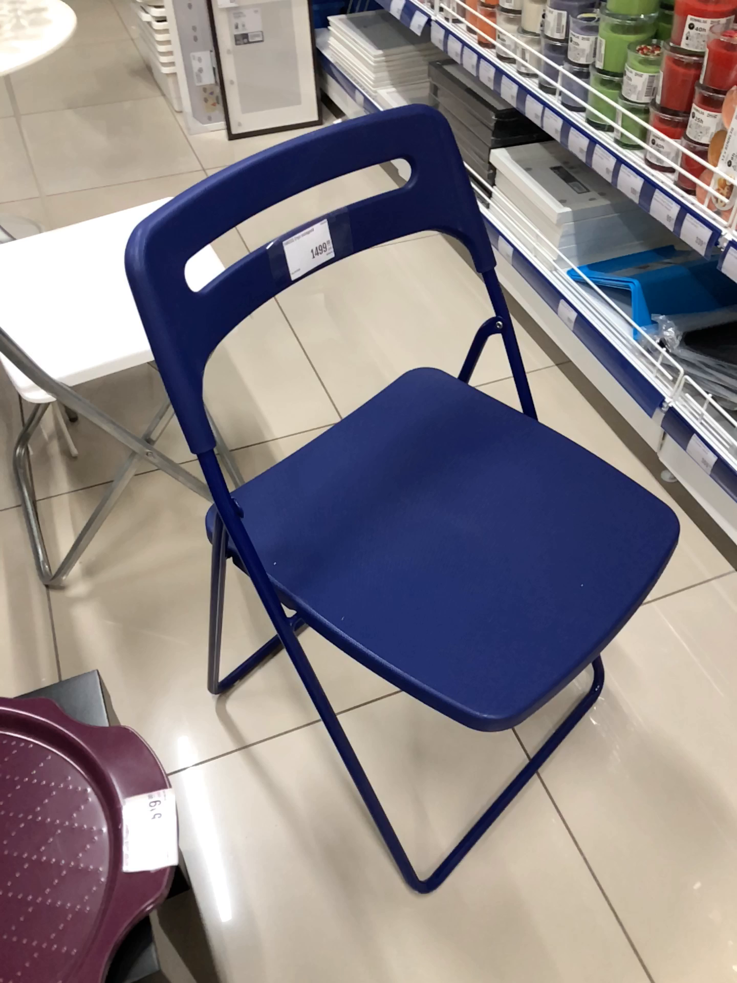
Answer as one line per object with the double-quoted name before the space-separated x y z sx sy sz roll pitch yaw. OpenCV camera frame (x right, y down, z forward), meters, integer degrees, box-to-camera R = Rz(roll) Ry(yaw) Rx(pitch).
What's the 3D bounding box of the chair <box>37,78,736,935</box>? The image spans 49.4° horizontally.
"chair" 0.060 0.033 0.895 0.466 0.705 0.452 35 56 29
